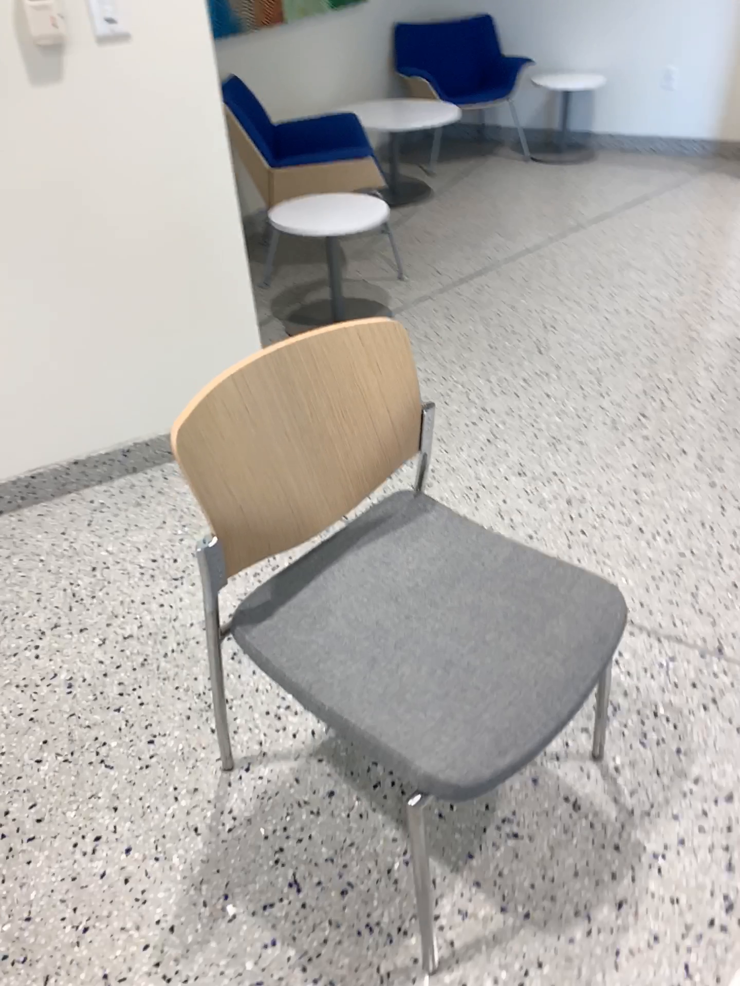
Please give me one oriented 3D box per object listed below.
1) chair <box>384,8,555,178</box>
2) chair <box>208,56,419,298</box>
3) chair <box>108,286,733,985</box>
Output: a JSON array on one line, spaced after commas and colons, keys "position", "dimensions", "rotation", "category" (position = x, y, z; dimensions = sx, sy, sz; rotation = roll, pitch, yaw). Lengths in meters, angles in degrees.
[{"position": [0.587, -2.528, 4.707], "dimensions": [0.748, 0.768, 0.818], "rotation": [-13, 38, -12], "category": "chair"}, {"position": [-0.228, -1.399, 3.282], "dimensions": [0.761, 0.758, 0.774], "rotation": [-6, 37, -3], "category": "chair"}, {"position": [0.077, 0.194, 1.189], "dimensions": [0.594, 0.768, 0.540], "rotation": [28, 47, 36], "category": "chair"}]
